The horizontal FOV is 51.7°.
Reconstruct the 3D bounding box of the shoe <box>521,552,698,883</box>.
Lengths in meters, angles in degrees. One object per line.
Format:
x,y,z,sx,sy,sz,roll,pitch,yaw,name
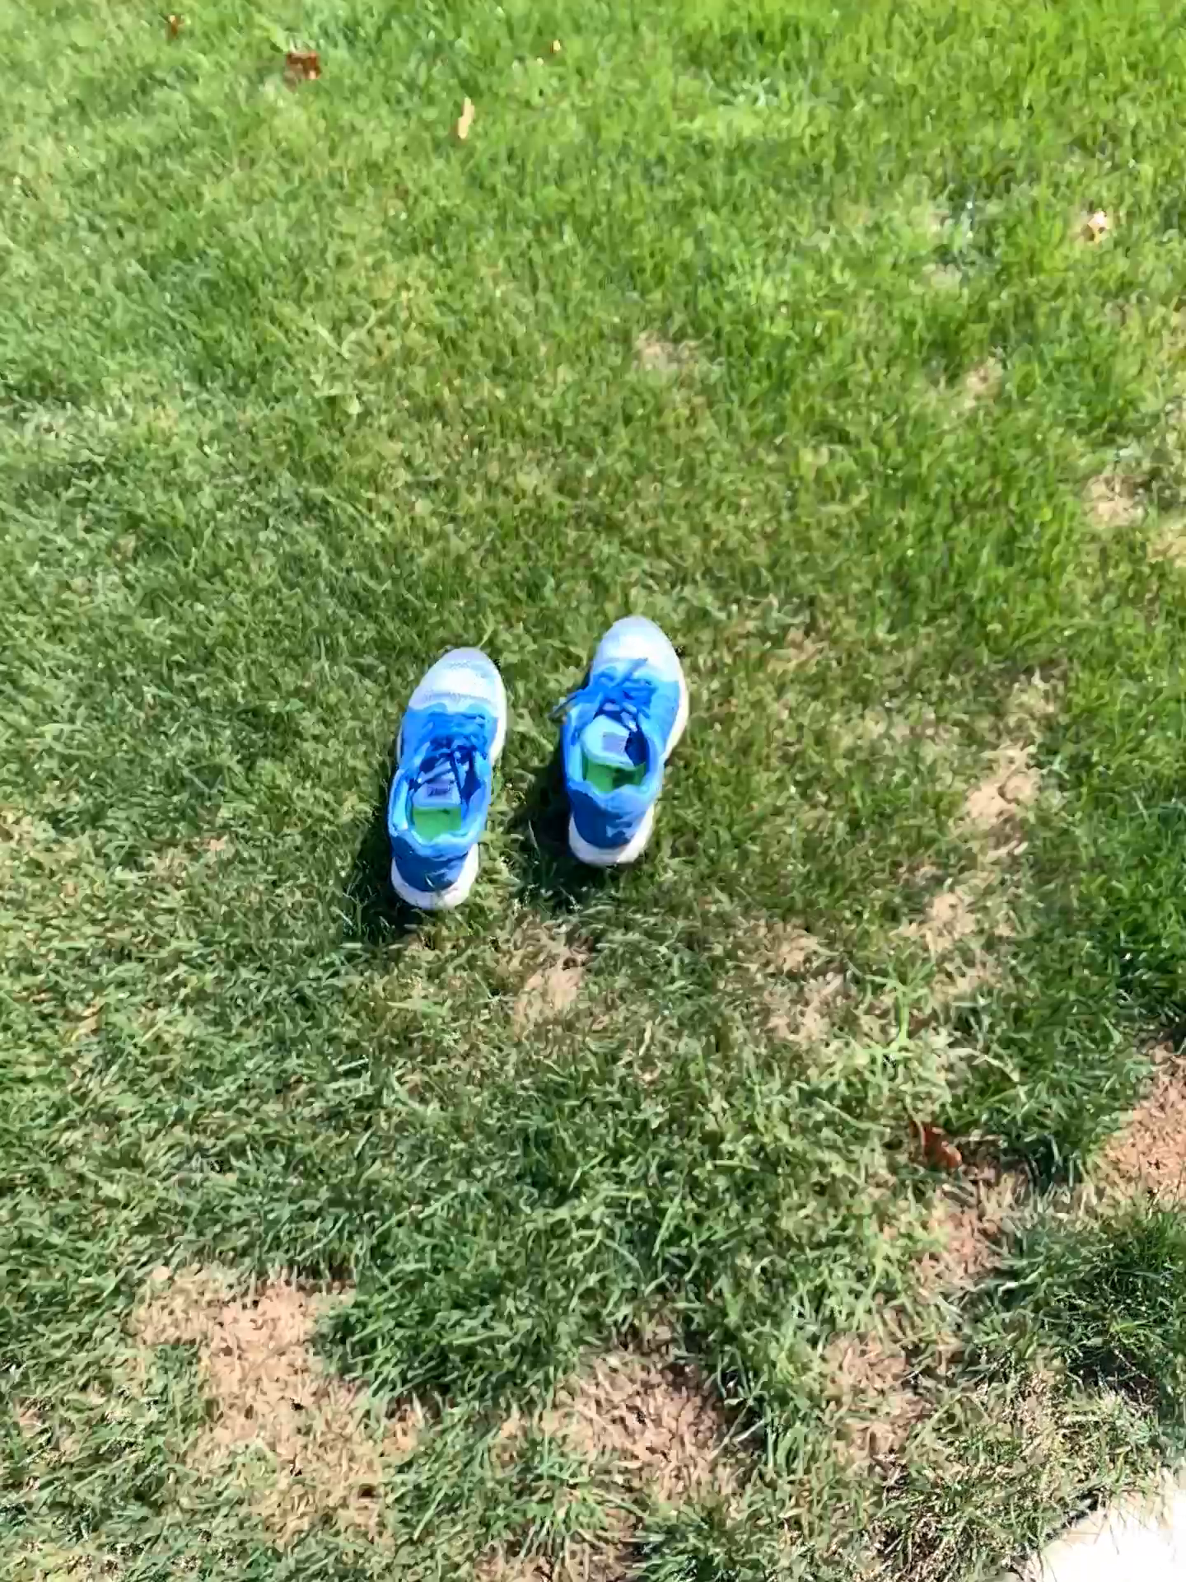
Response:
0.024,-0.076,1.220,0.130,0.140,0.291,5,61,7,shoe

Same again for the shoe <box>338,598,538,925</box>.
-0.143,-0.032,1.200,0.120,0.120,0.291,5,61,7,shoe
